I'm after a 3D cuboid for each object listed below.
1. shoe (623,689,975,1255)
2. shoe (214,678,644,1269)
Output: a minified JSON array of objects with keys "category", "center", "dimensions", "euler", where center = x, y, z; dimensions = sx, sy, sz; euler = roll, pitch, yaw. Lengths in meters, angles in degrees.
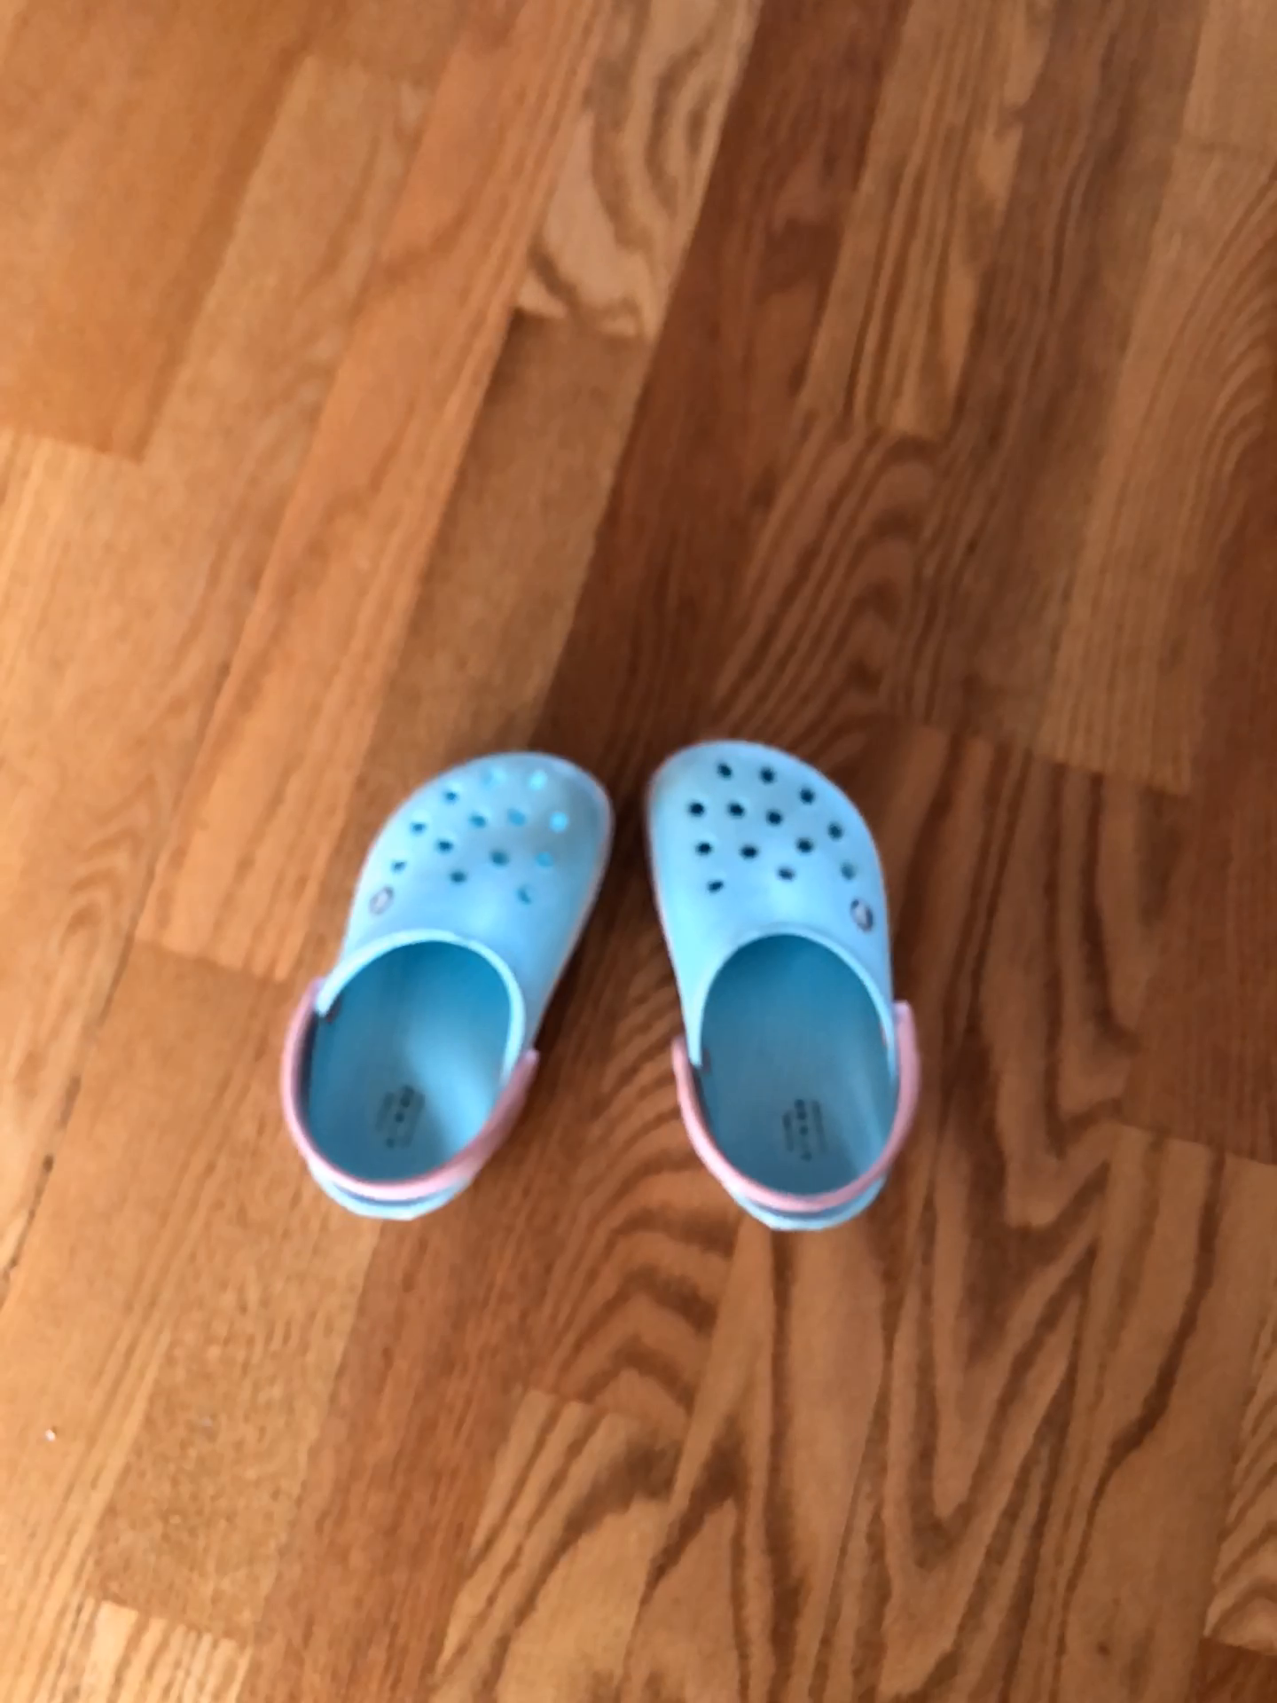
[{"category":"shoe","center":[0.047,0.038,0.461],"dimensions":[0.083,0.048,0.165],"euler":[-8,77,-2]},{"category":"shoe","center":[-0.062,0.039,0.465],"dimensions":[0.083,0.057,0.165],"euler":[16,78,4]}]
